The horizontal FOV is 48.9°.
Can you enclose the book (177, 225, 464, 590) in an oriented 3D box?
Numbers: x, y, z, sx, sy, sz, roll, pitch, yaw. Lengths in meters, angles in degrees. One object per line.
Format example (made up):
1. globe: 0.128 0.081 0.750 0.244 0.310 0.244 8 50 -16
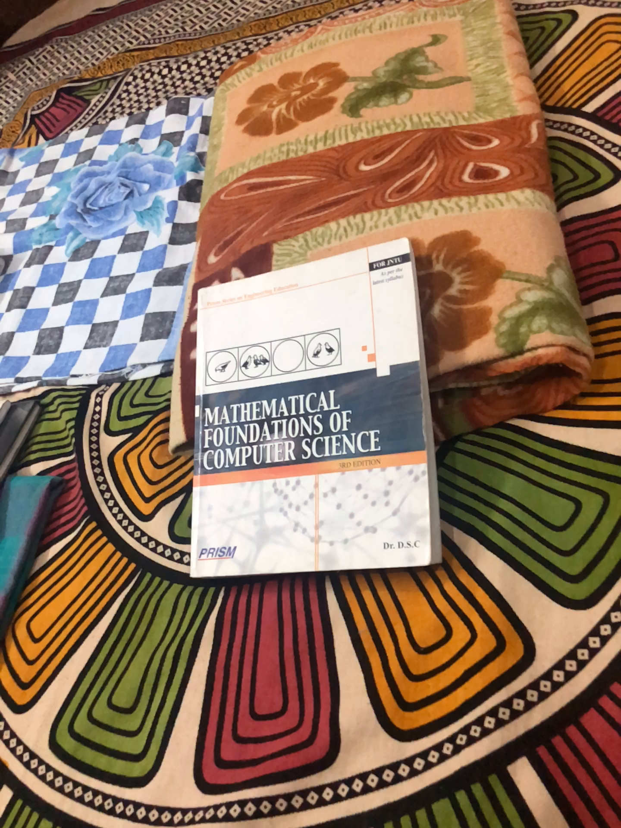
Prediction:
1. book: 0.003 0.001 0.512 0.190 0.060 0.240 -10 68 24
